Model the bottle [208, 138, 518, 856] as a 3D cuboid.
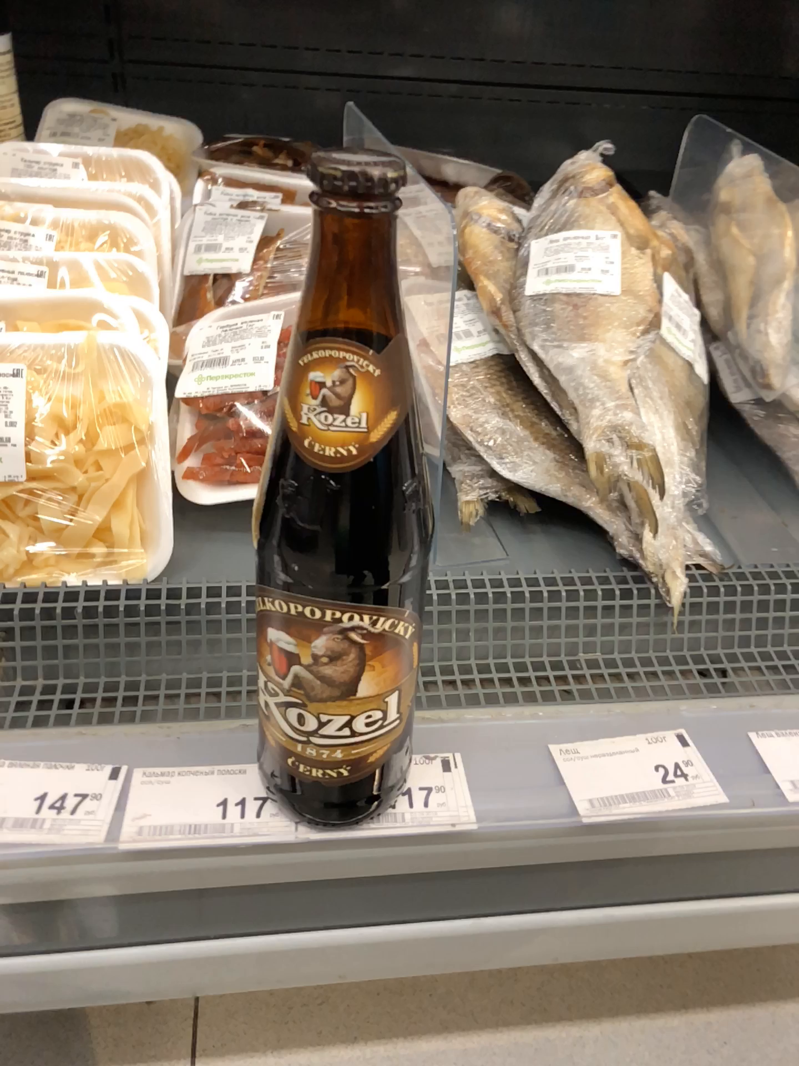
[{"bbox_3d":[-0.015,0.001,0.297,0.070,0.231,0.070,4,34,-3],"label":"bottle"}]
